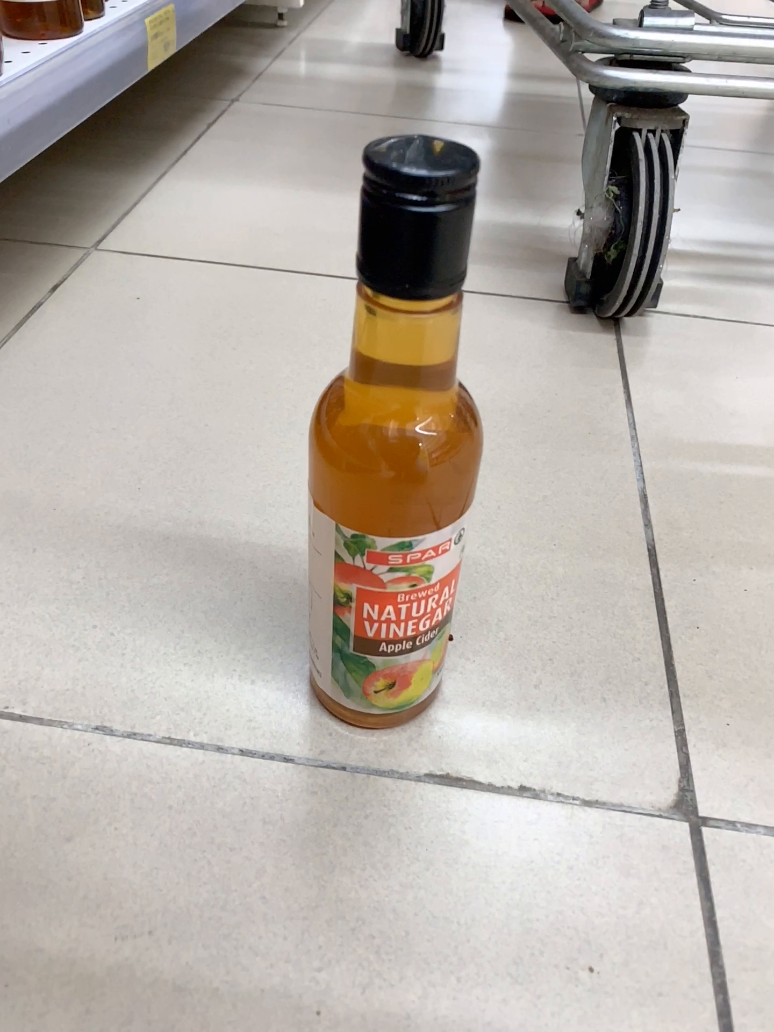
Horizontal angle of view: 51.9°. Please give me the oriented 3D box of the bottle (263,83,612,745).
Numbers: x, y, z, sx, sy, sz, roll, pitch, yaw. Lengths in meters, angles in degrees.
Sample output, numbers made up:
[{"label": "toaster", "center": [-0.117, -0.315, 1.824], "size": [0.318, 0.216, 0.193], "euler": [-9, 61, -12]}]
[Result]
[{"label": "bottle", "center": [0.004, -0.016, 0.268], "size": [0.070, 0.219, 0.060], "euler": [-9, 44, -14]}]
